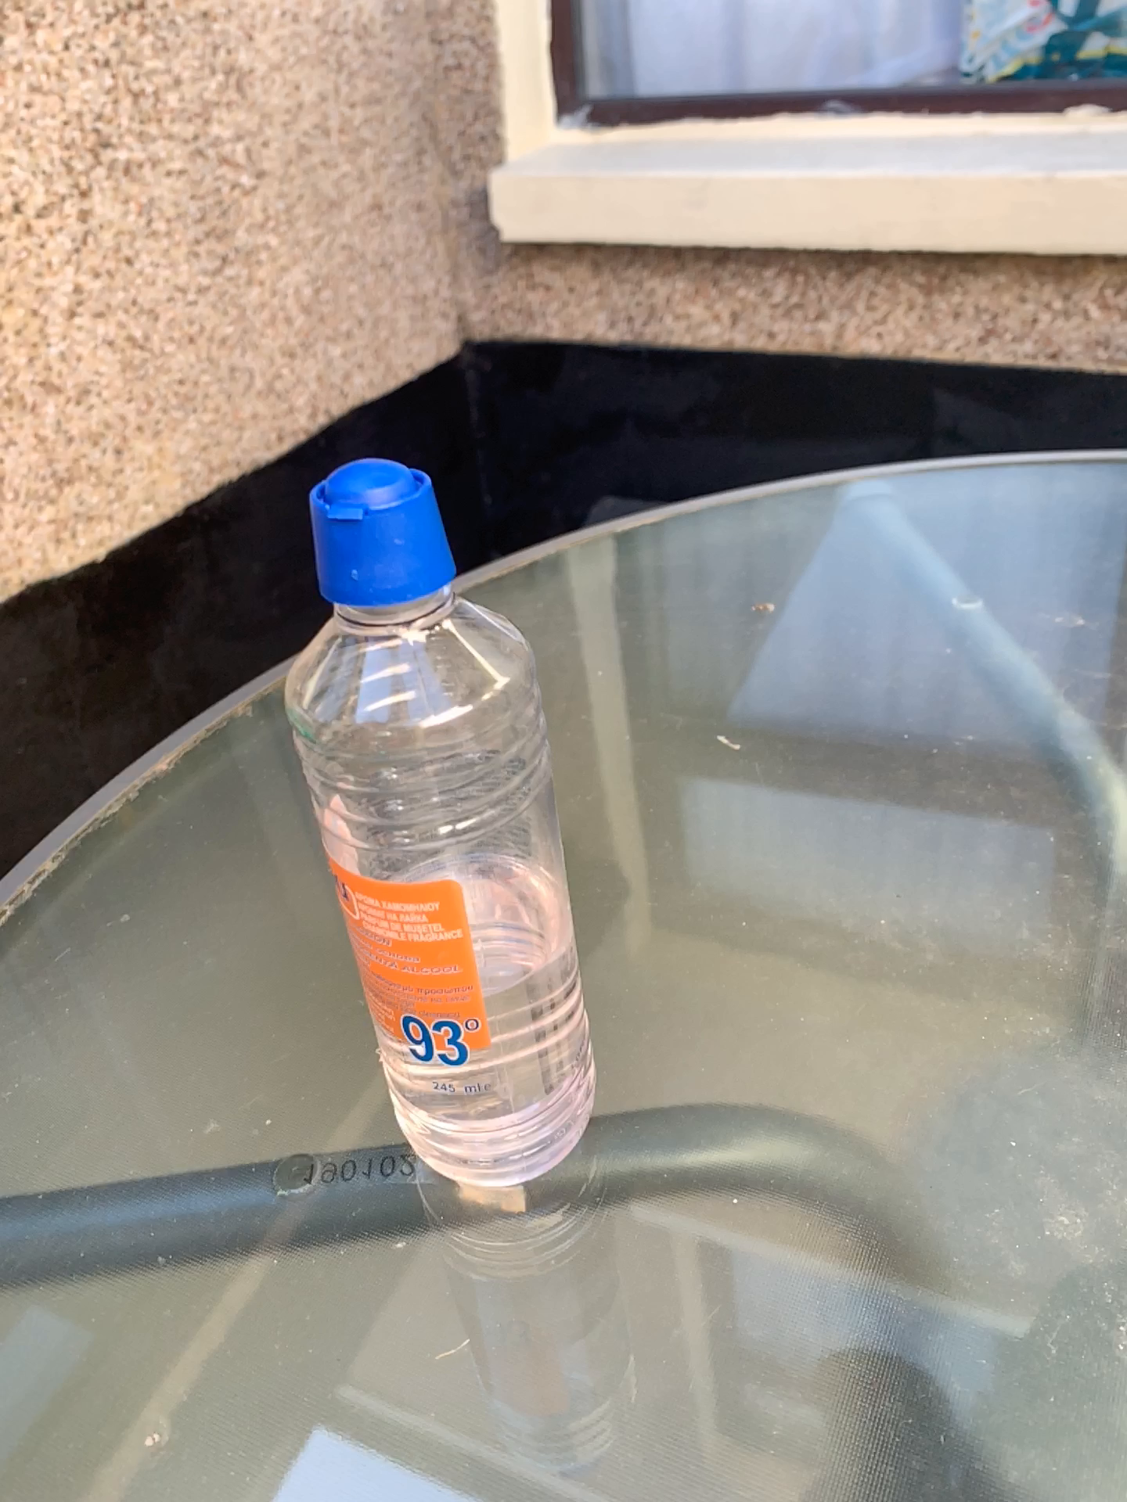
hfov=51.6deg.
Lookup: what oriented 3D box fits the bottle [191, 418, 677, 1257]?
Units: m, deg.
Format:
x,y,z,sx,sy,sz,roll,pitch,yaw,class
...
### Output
x,y,z,sx,sy,sz,roll,pitch,yaw,class
-0.020,0.022,0.248,0.060,0.158,0.060,-4,34,3,bottle
